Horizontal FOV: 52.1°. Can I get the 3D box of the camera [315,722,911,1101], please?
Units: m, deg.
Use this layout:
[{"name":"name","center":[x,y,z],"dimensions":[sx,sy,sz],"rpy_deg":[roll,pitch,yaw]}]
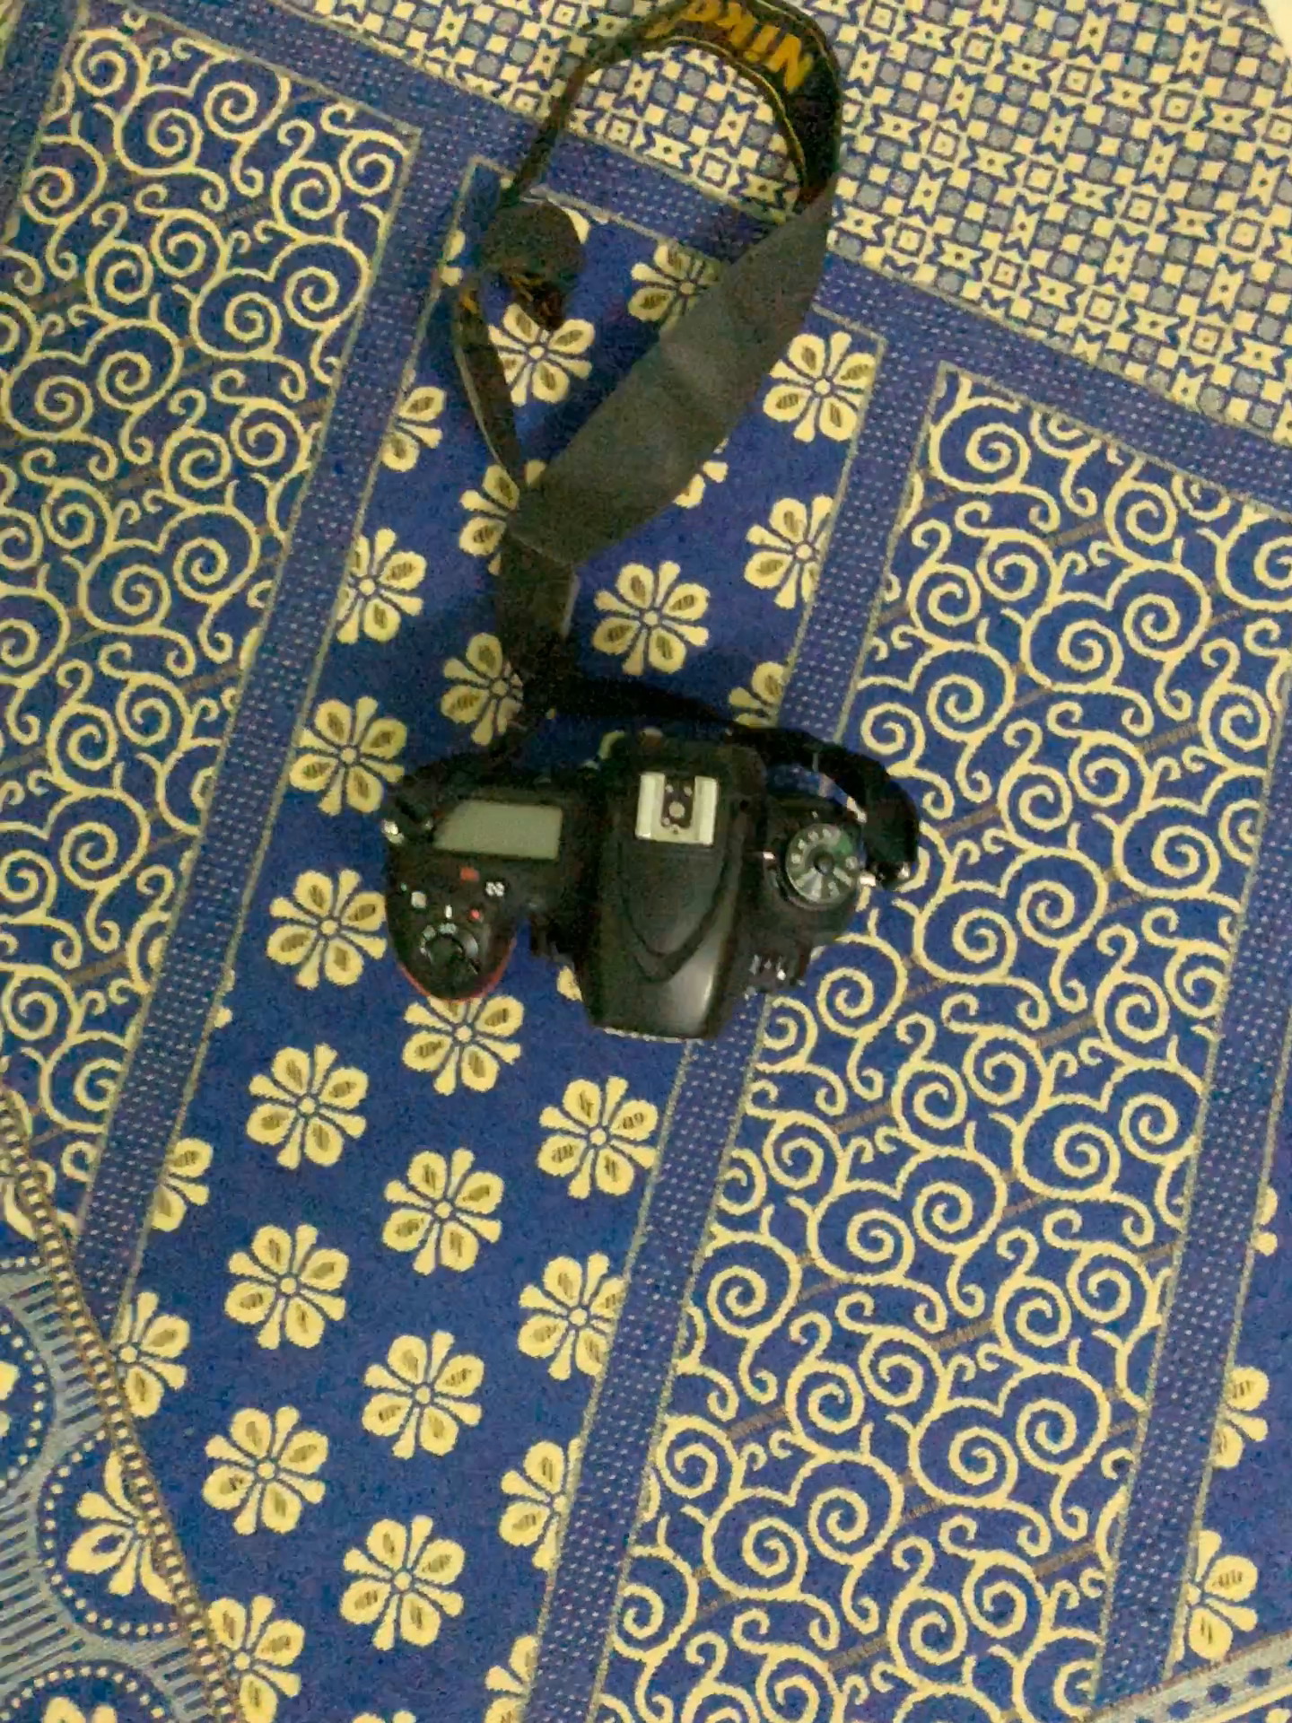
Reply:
[{"name":"camera","center":[-0.007,0.016,0.393],"dimensions":[0.150,0.090,0.088],"rpy_deg":[5,85,2]}]
